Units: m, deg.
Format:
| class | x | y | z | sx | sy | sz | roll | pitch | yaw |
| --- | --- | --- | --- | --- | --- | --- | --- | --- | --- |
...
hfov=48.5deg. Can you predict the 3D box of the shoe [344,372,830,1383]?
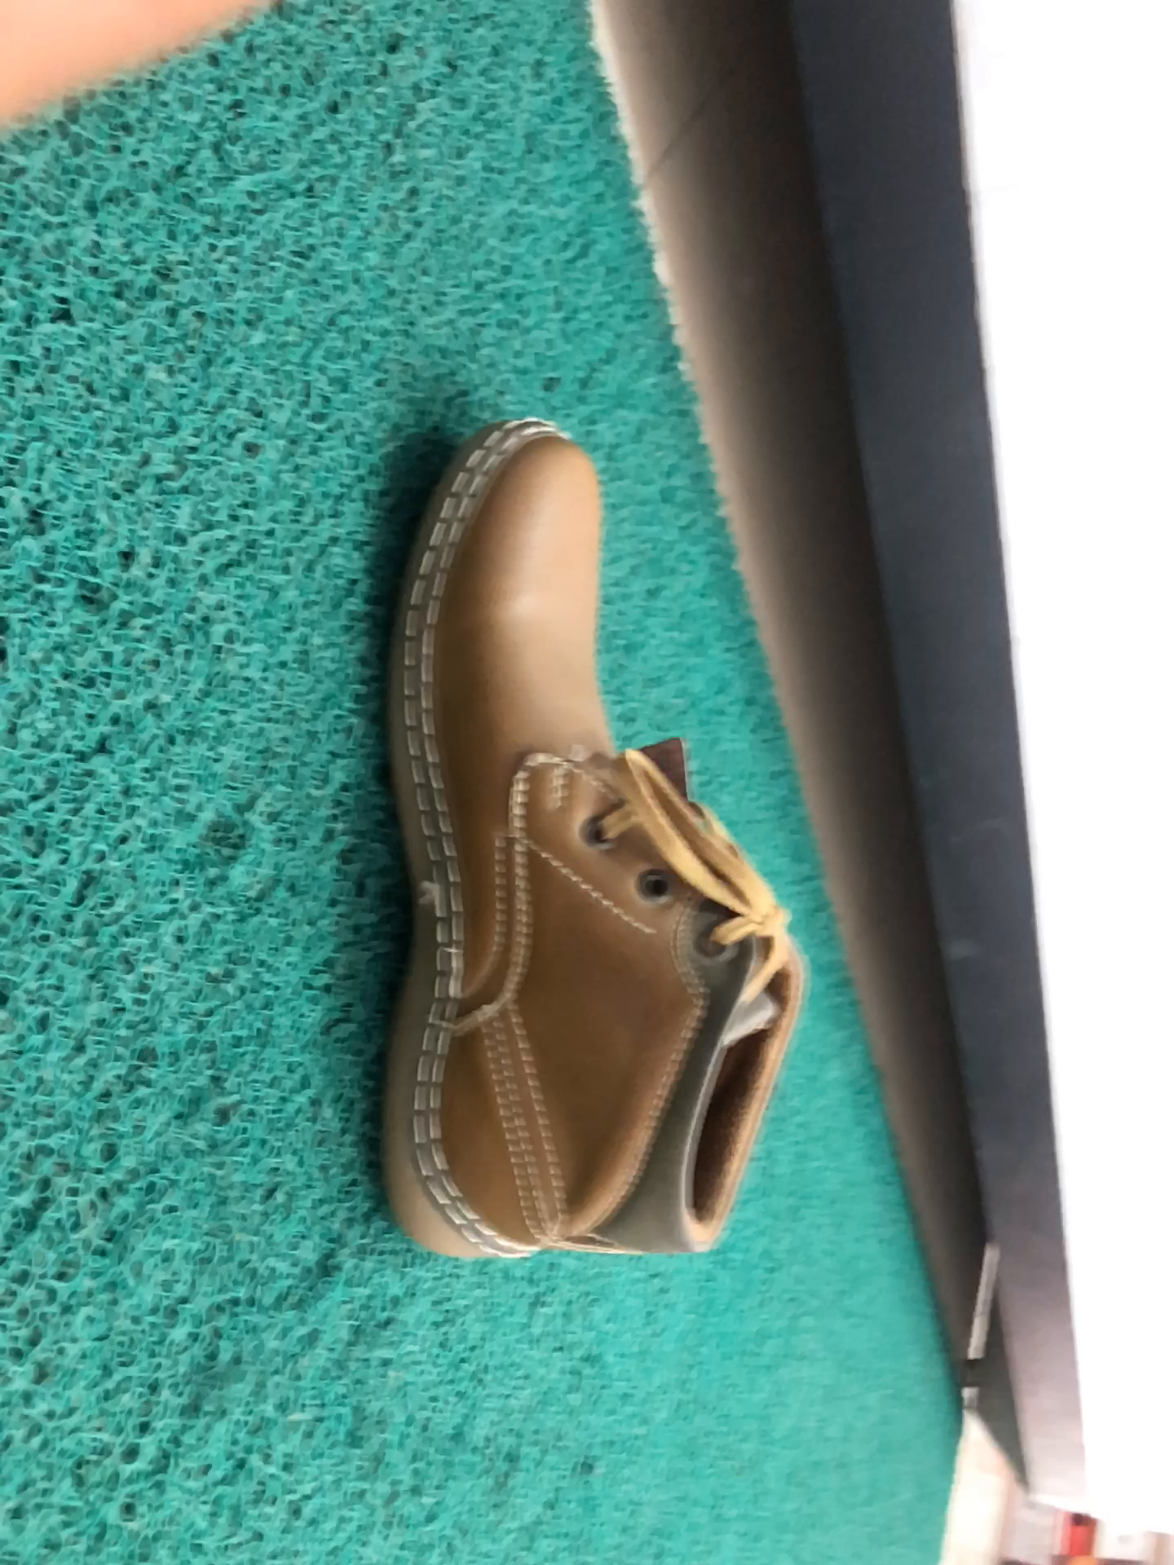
| class | x | y | z | sx | sy | sz | roll | pitch | yaw |
| --- | --- | --- | --- | --- | --- | --- | --- | --- | --- |
| shoe | 0.003 | 0.026 | 0.444 | 0.101 | 0.129 | 0.290 | -9 | 100 | -63 |
